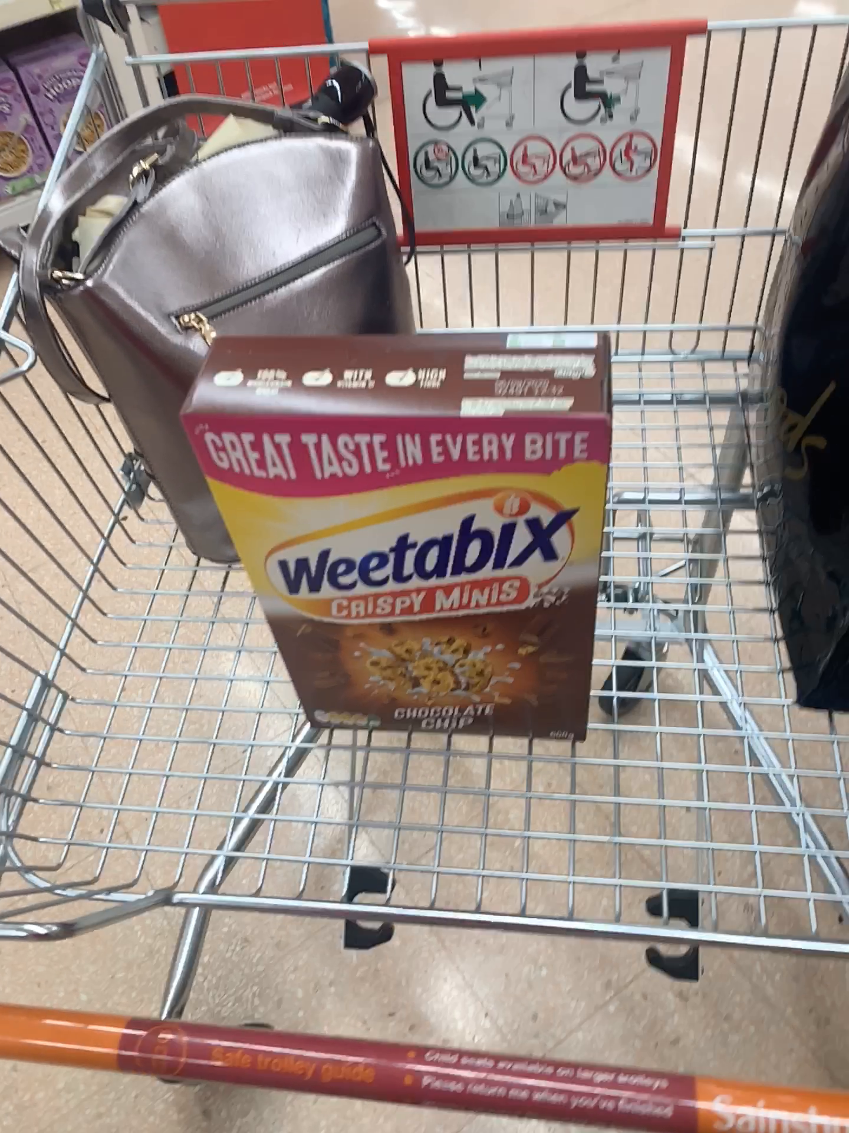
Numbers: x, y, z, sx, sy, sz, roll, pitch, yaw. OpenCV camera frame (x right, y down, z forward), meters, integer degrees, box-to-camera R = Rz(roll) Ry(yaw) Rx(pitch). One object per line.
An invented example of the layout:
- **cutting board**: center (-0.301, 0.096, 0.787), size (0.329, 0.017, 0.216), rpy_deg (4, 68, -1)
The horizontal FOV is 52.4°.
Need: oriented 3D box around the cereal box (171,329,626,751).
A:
- **cereal box**: center (0.000, 0.004, 0.481), size (0.190, 0.278, 0.060), rpy_deg (2, 50, 7)
